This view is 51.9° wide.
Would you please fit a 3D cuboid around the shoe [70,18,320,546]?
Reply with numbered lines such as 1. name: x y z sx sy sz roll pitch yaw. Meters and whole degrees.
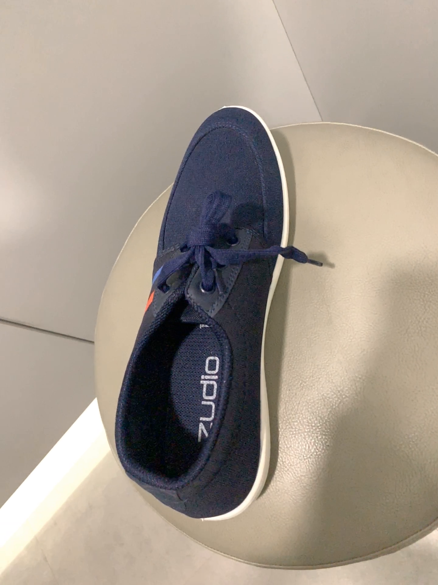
1. shoe: -0.001 -0.012 0.303 0.100 0.100 0.290 -1 75 27
